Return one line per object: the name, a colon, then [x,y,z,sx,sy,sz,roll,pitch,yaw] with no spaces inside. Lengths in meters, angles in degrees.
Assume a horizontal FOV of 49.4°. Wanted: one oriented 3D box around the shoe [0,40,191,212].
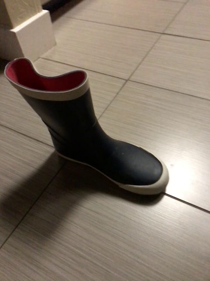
shoe: [-0.031,-0.020,0.385,0.278,0.217,0.103,18,57,19]
